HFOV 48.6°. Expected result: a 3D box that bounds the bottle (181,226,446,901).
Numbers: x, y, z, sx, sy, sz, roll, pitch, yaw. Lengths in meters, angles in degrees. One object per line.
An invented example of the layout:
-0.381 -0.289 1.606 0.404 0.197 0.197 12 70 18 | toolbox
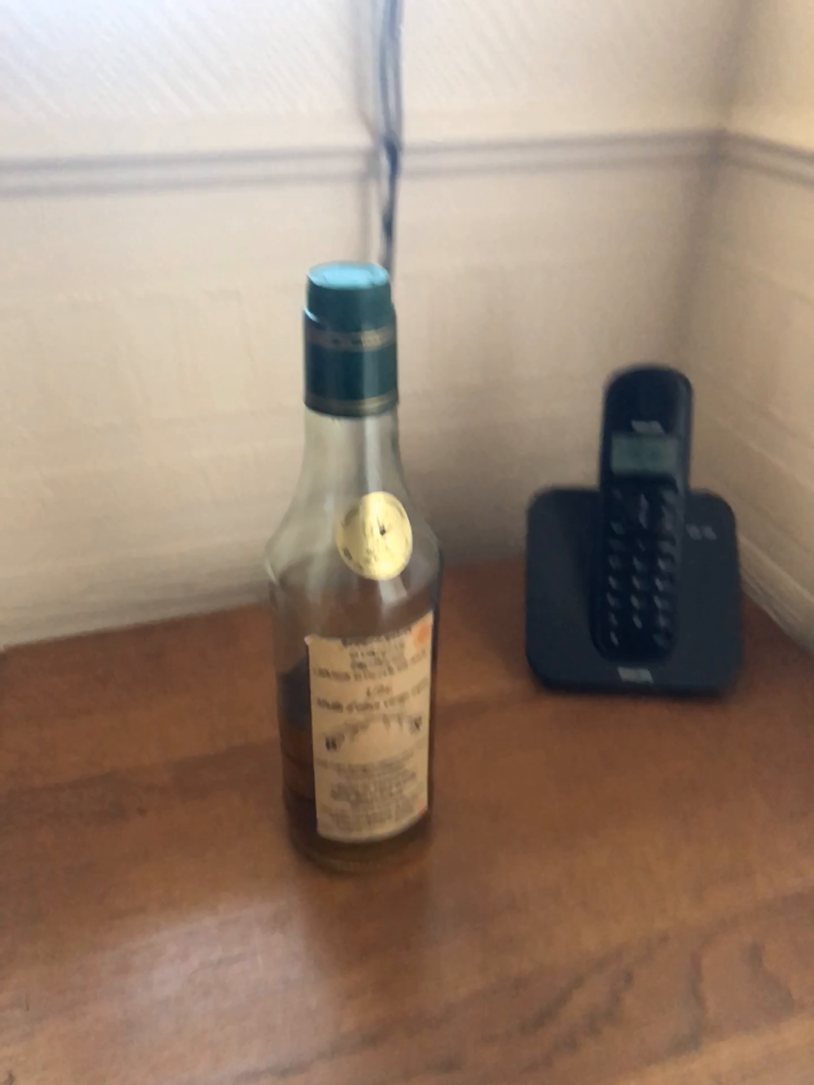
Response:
-0.034 0.019 0.360 0.070 0.259 0.080 -9 33 -15 | bottle
